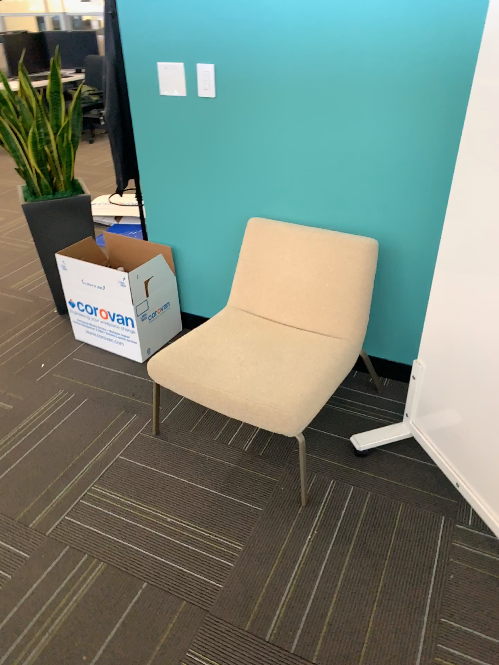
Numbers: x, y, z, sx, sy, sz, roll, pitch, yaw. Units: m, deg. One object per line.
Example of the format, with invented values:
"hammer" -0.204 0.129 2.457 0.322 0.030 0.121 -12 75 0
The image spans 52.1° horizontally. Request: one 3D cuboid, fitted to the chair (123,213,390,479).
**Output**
"chair" 0.062 -0.016 1.935 0.662 0.567 0.732 17 37 26
